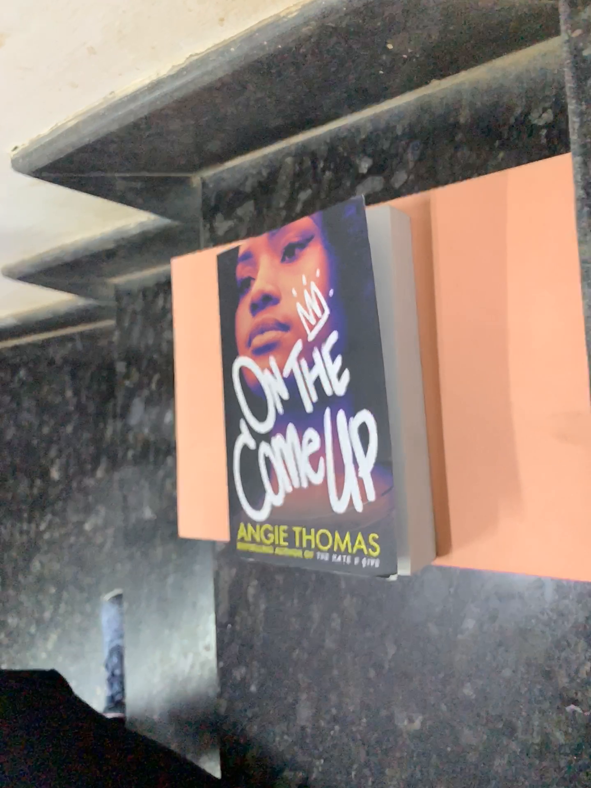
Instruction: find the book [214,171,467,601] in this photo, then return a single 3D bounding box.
[{"bbox_3d":[0.018,0.000,0.343,0.131,0.040,0.200,-7,84,40],"label":"book"}]
